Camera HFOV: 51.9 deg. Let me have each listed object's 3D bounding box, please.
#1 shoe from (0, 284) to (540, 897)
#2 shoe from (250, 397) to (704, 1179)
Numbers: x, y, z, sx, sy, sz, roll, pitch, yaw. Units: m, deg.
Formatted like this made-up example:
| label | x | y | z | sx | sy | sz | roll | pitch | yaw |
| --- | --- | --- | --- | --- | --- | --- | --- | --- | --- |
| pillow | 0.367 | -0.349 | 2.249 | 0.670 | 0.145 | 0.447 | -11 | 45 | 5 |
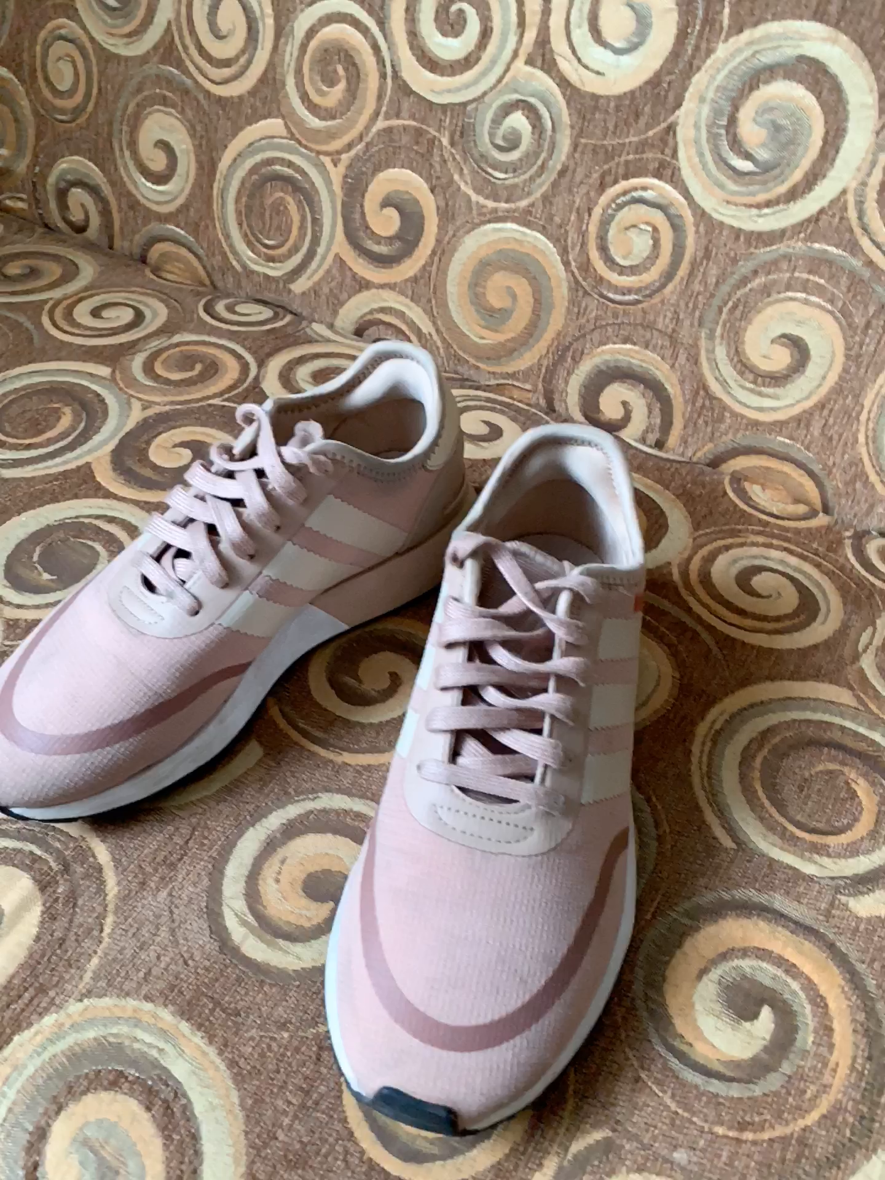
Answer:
| label | x | y | z | sx | sy | sz | roll | pitch | yaw |
| --- | --- | --- | --- | --- | --- | --- | --- | --- | --- |
| shoe | -0.083 | -0.016 | 0.367 | 0.100 | 0.090 | 0.250 | 36 | 57 | 27 |
| shoe | 0.029 | 0.050 | 0.323 | 0.100 | 0.090 | 0.251 | 9 | 49 | 7 |
